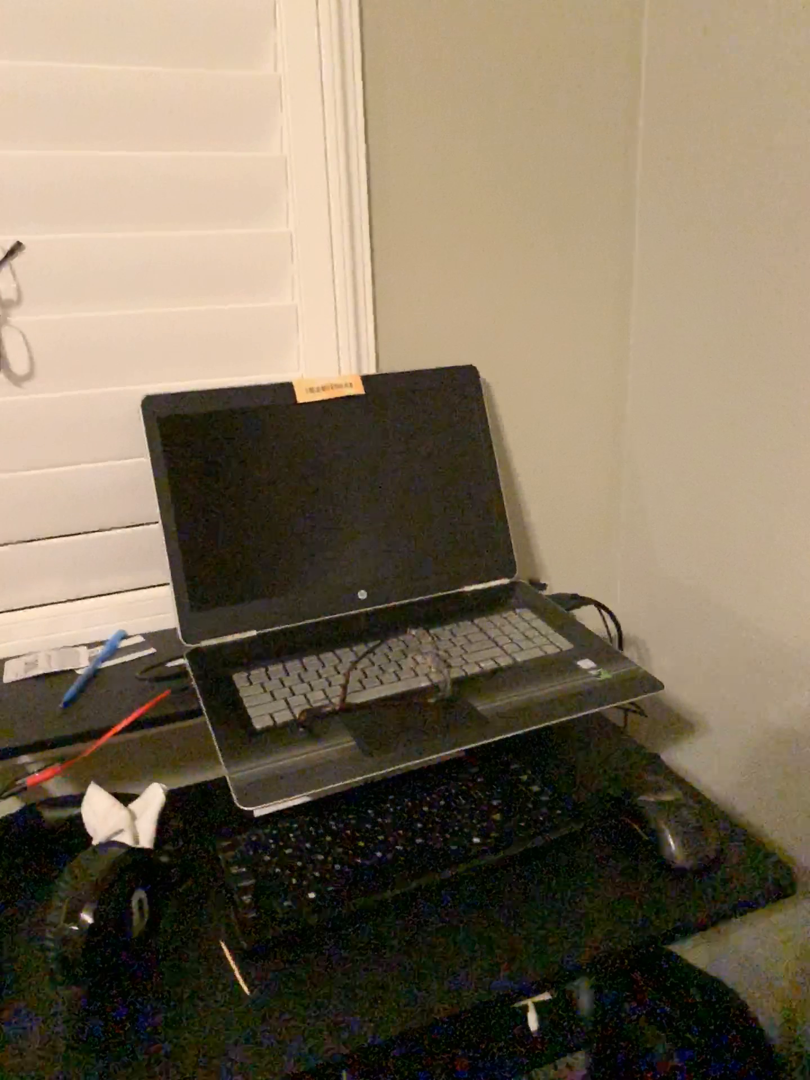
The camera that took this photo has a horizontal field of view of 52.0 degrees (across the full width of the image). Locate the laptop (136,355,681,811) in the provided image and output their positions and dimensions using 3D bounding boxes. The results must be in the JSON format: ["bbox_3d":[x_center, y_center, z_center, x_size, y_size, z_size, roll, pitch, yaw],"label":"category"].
[{"bbox_3d":[-0.025,-0.013,0.897,0.433,0.263,0.420,-10,23,-21],"label":"laptop"}]
